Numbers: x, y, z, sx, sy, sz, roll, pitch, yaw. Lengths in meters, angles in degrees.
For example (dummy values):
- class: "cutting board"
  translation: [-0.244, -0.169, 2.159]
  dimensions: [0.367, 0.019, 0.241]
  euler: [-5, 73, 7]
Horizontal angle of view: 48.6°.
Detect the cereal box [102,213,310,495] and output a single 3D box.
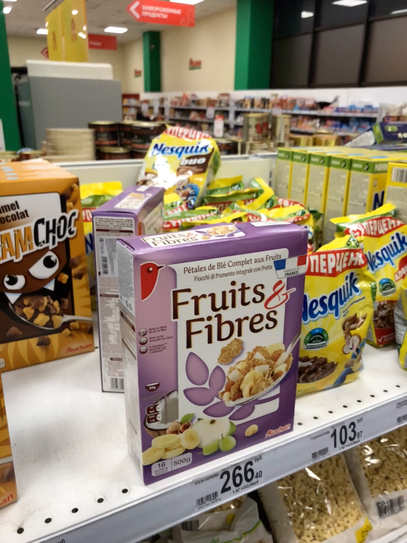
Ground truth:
- class: "cereal box"
  translation: [0.007, 0.080, 0.486]
  dimensions: [0.200, 0.259, 0.060]
  euler: [-9, 21, -26]
